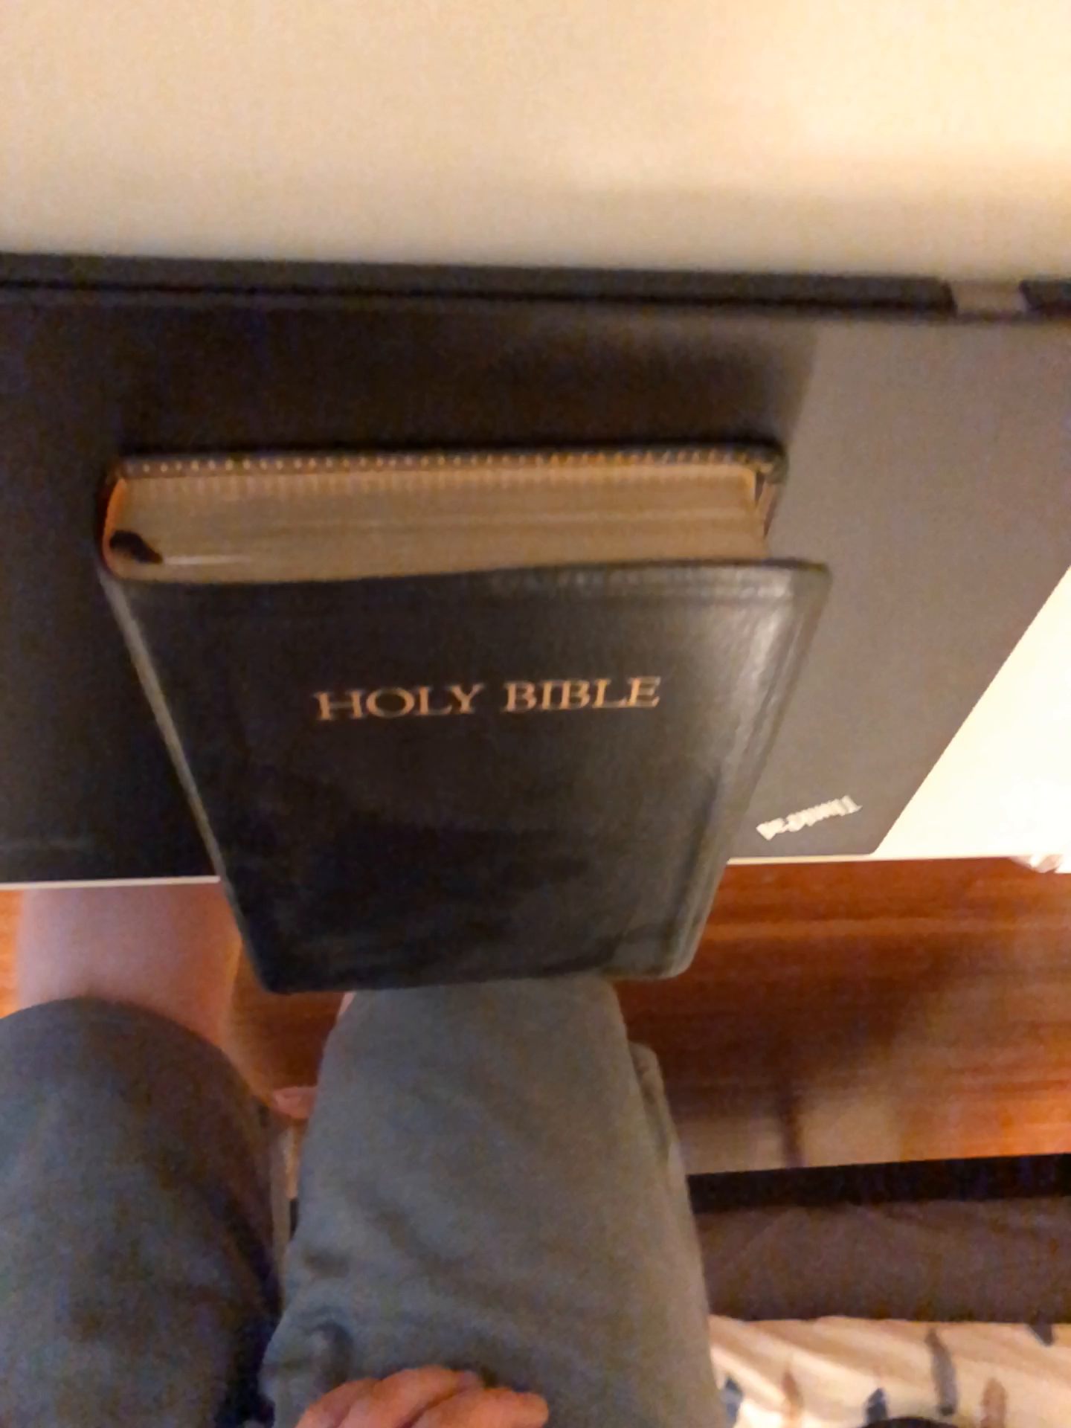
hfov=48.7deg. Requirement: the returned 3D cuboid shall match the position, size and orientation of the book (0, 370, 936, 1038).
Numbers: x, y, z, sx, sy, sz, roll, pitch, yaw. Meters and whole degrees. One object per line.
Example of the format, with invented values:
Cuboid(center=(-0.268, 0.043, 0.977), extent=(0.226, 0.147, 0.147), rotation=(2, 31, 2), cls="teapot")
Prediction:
Cuboid(center=(-0.018, 0.019, 0.320), extent=(0.170, 0.040, 0.241), rotation=(-2, 144, -5), cls="book")
